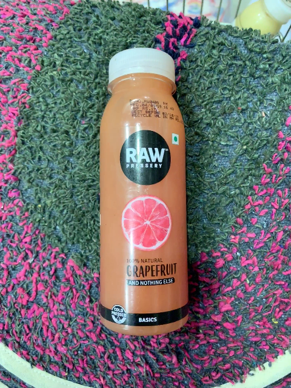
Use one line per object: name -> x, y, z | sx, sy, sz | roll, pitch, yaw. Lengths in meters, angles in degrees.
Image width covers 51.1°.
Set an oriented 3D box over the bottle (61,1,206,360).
bottle -> -0.003, -0.008, 0.165 | 0.060, 0.060, 0.160 | 1, 84, 1
